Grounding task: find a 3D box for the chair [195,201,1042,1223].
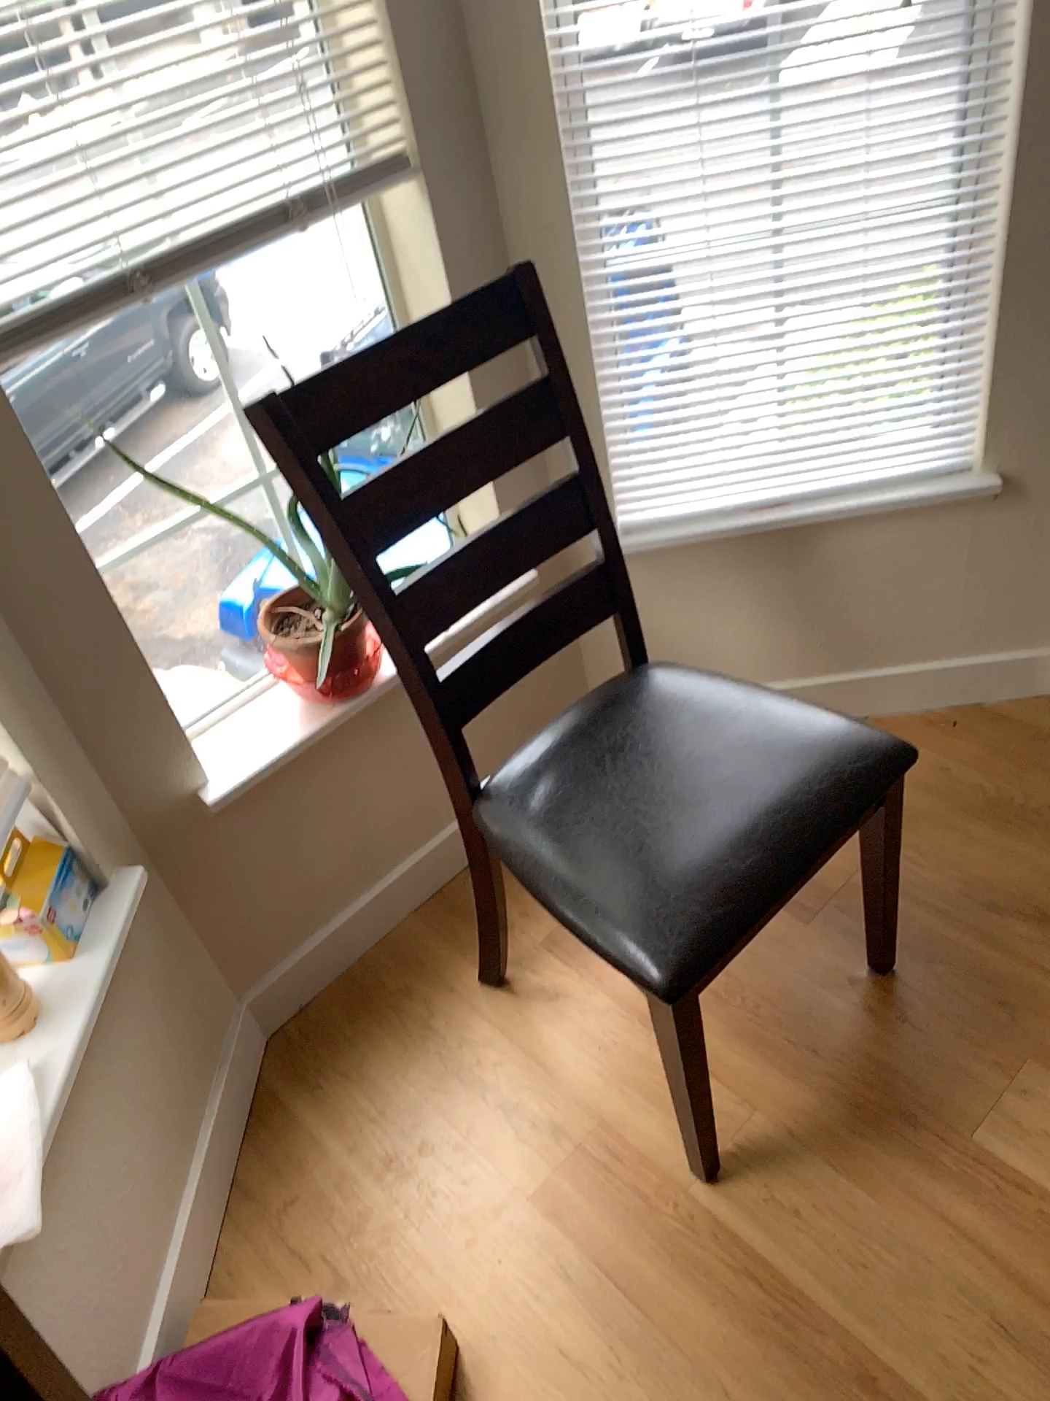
[{"bbox_3d":[0.149,0.018,1.282,0.561,0.946,0.542,-37,46,-26],"label":"chair"}]
